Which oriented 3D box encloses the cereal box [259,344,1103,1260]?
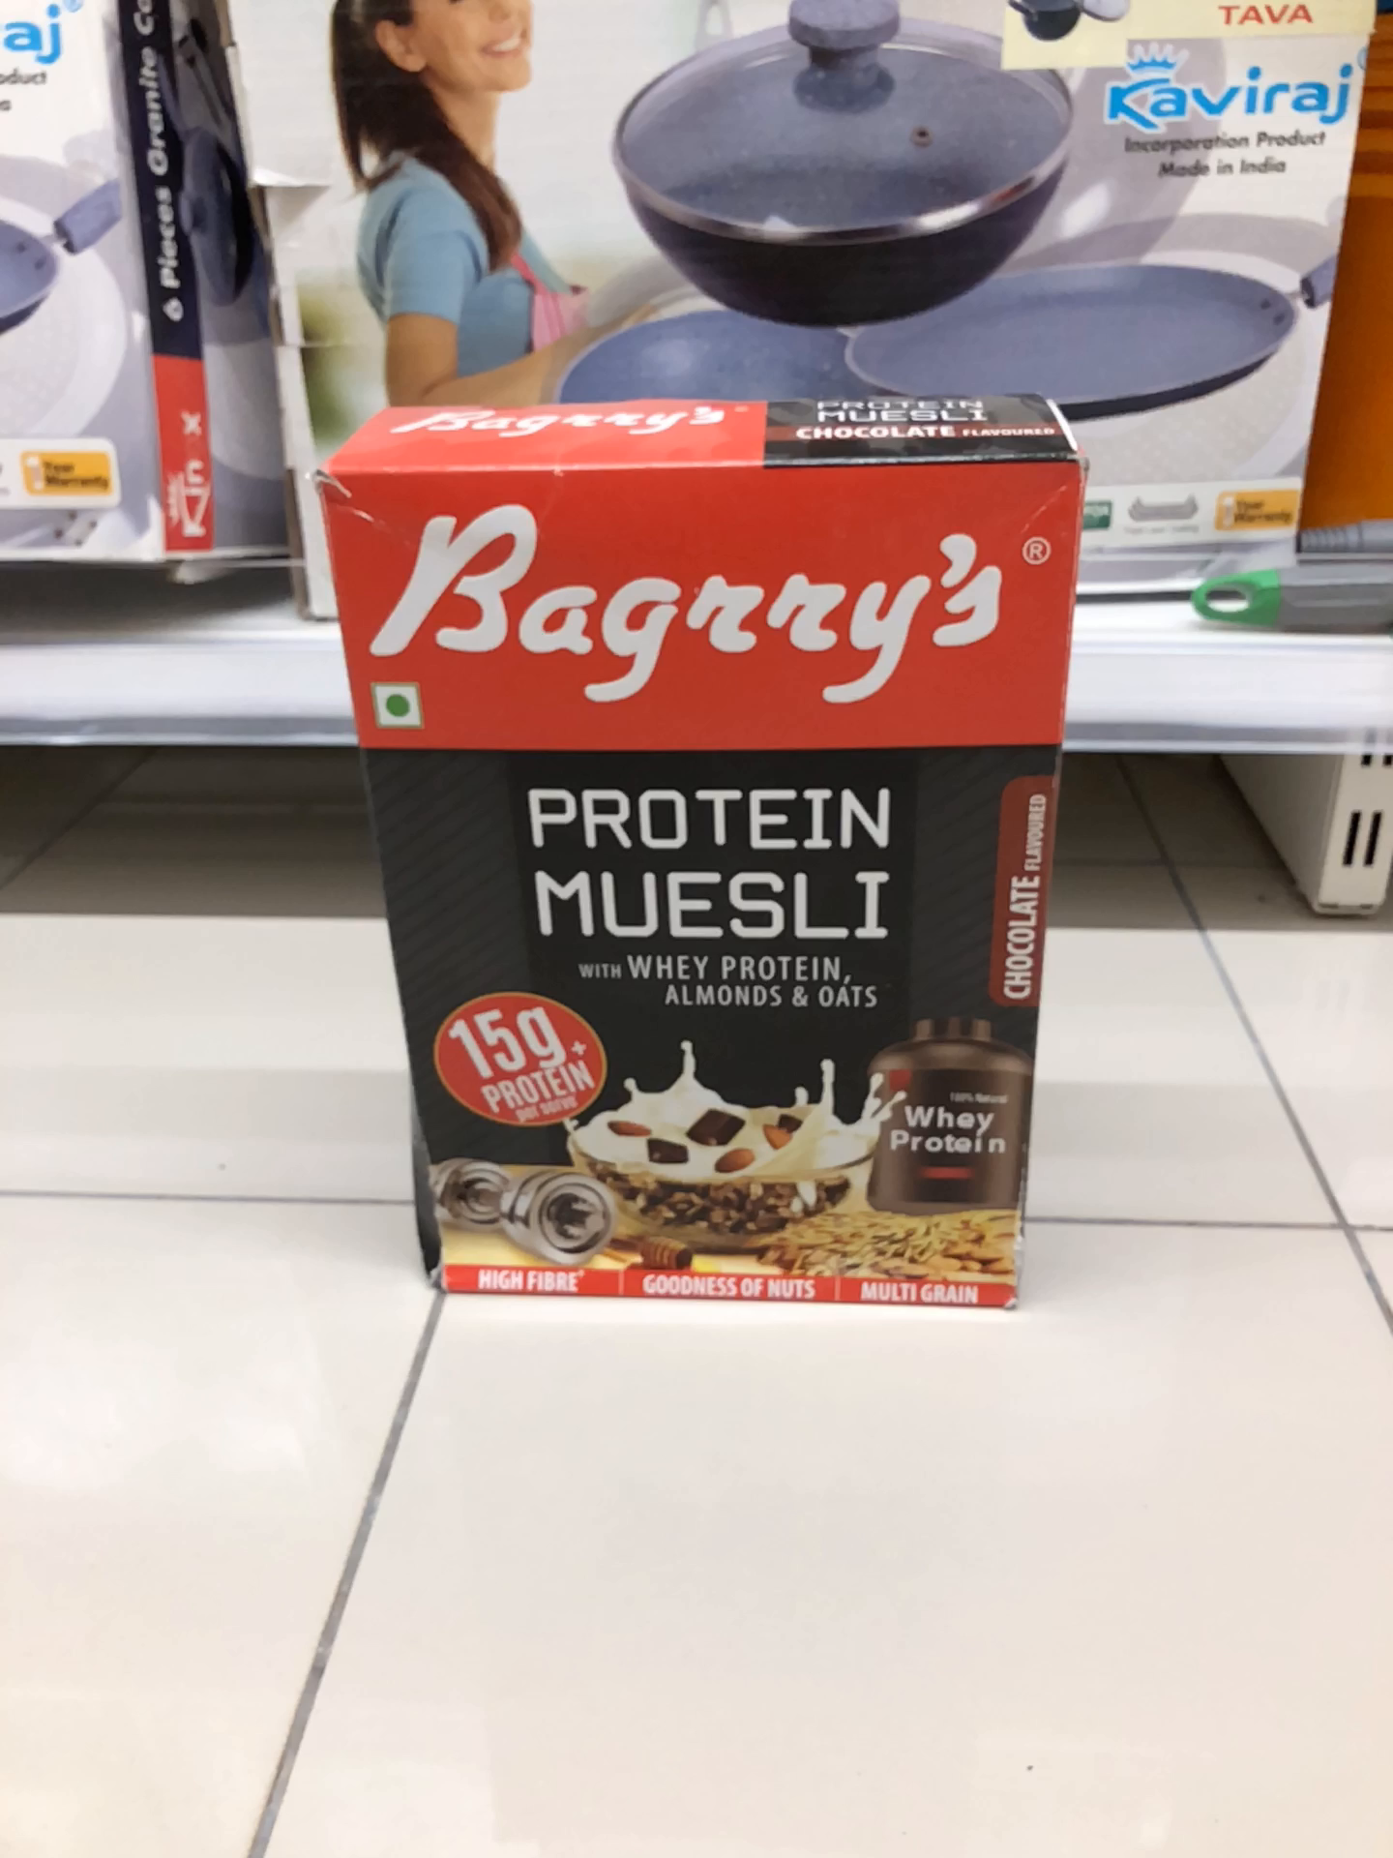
[{"bbox_3d":[0.000,-0.032,0.435,0.190,0.239,0.081,1,26,4],"label":"cereal box"}]
